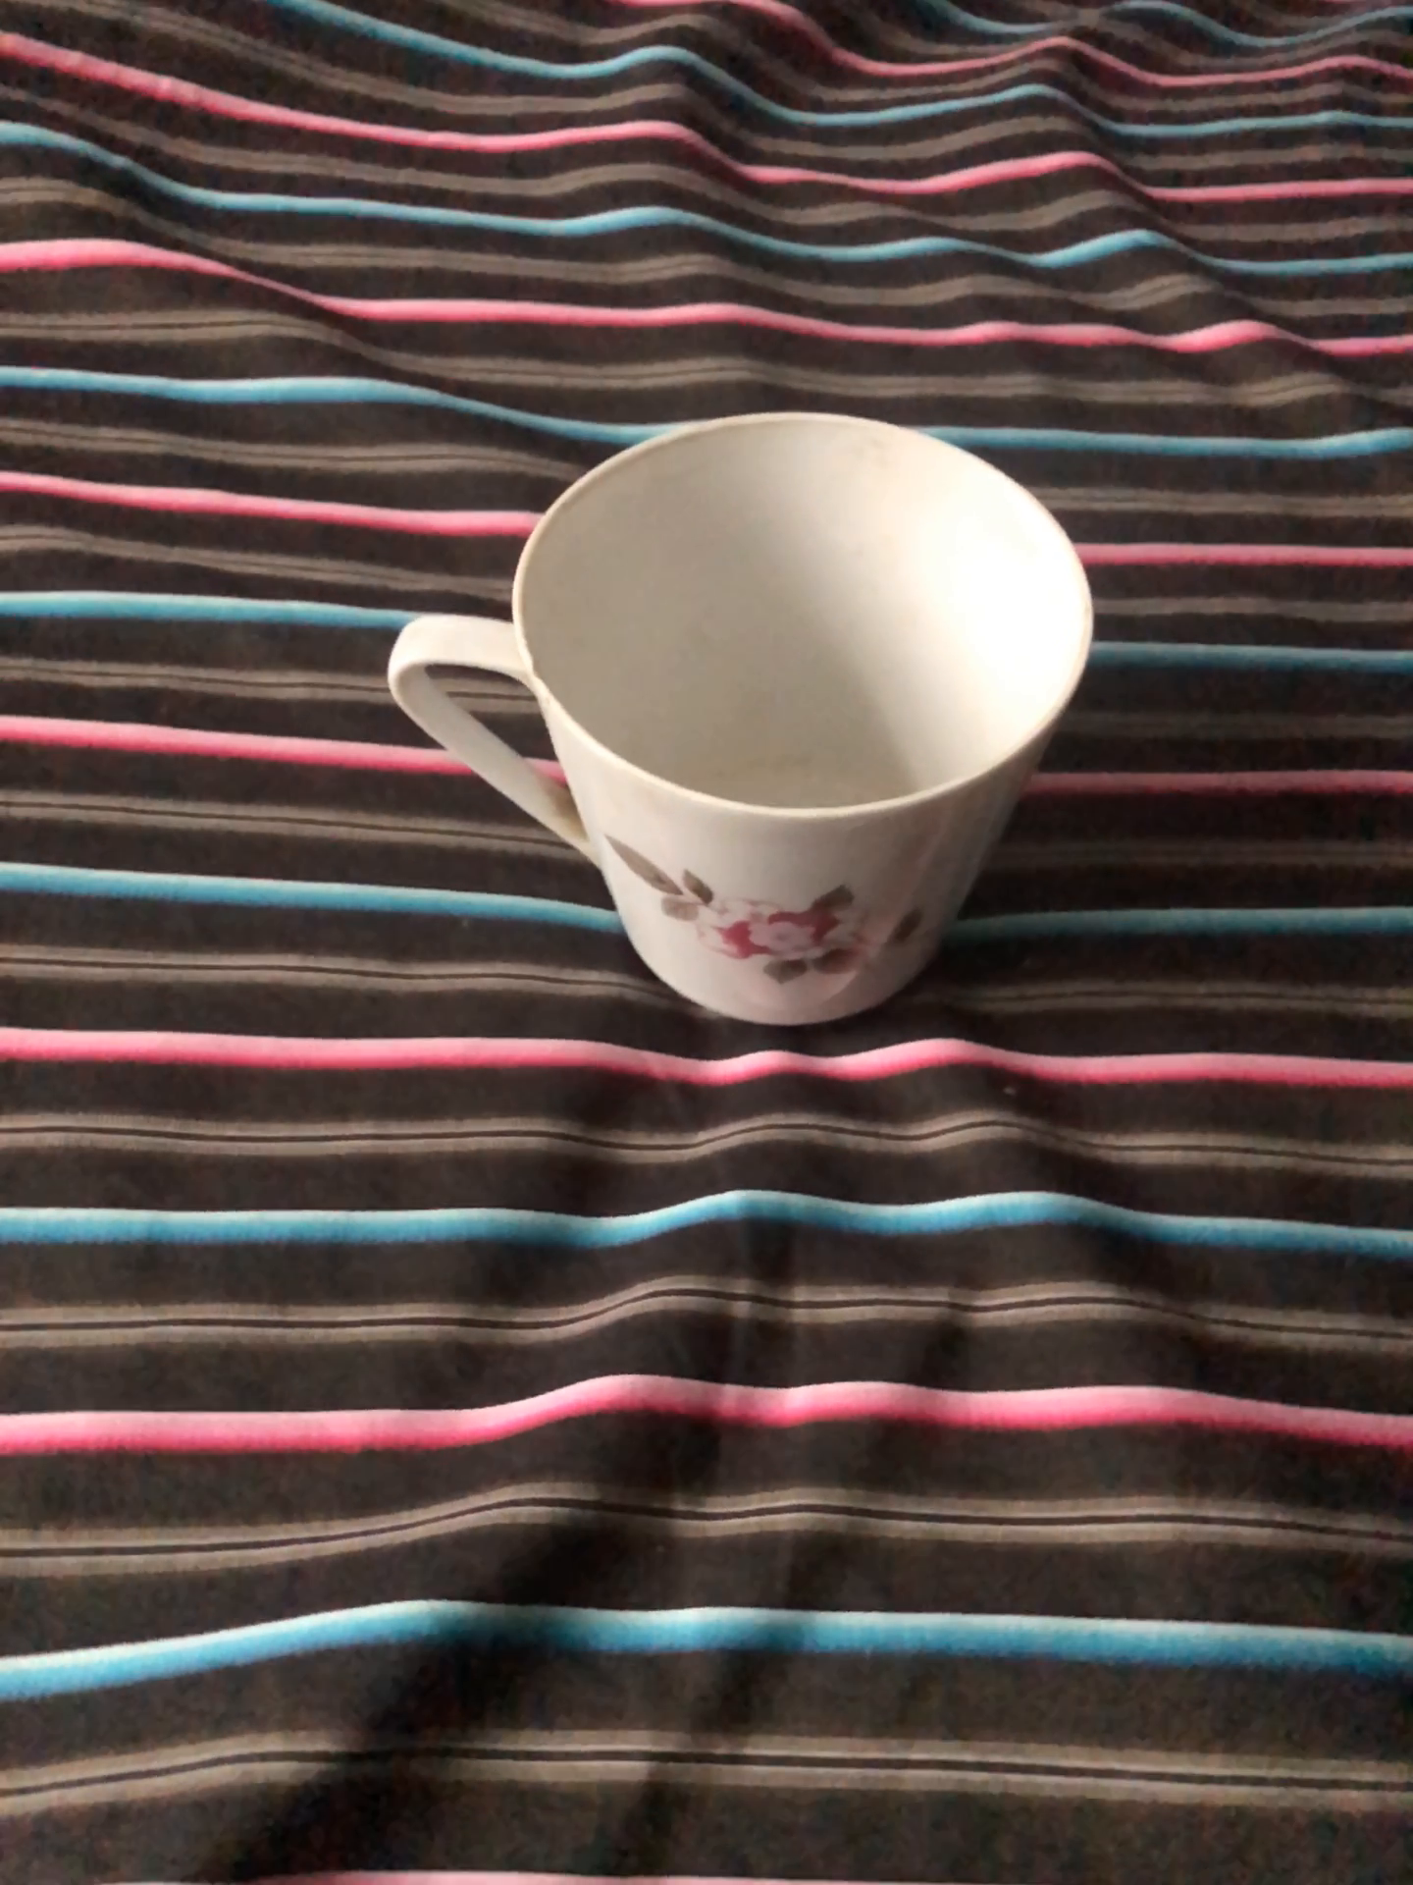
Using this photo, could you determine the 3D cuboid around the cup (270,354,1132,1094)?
[{"bbox_3d":[0.003,-0.032,0.221,0.094,0.049,0.074,11,58,8],"label":"cup"}]
